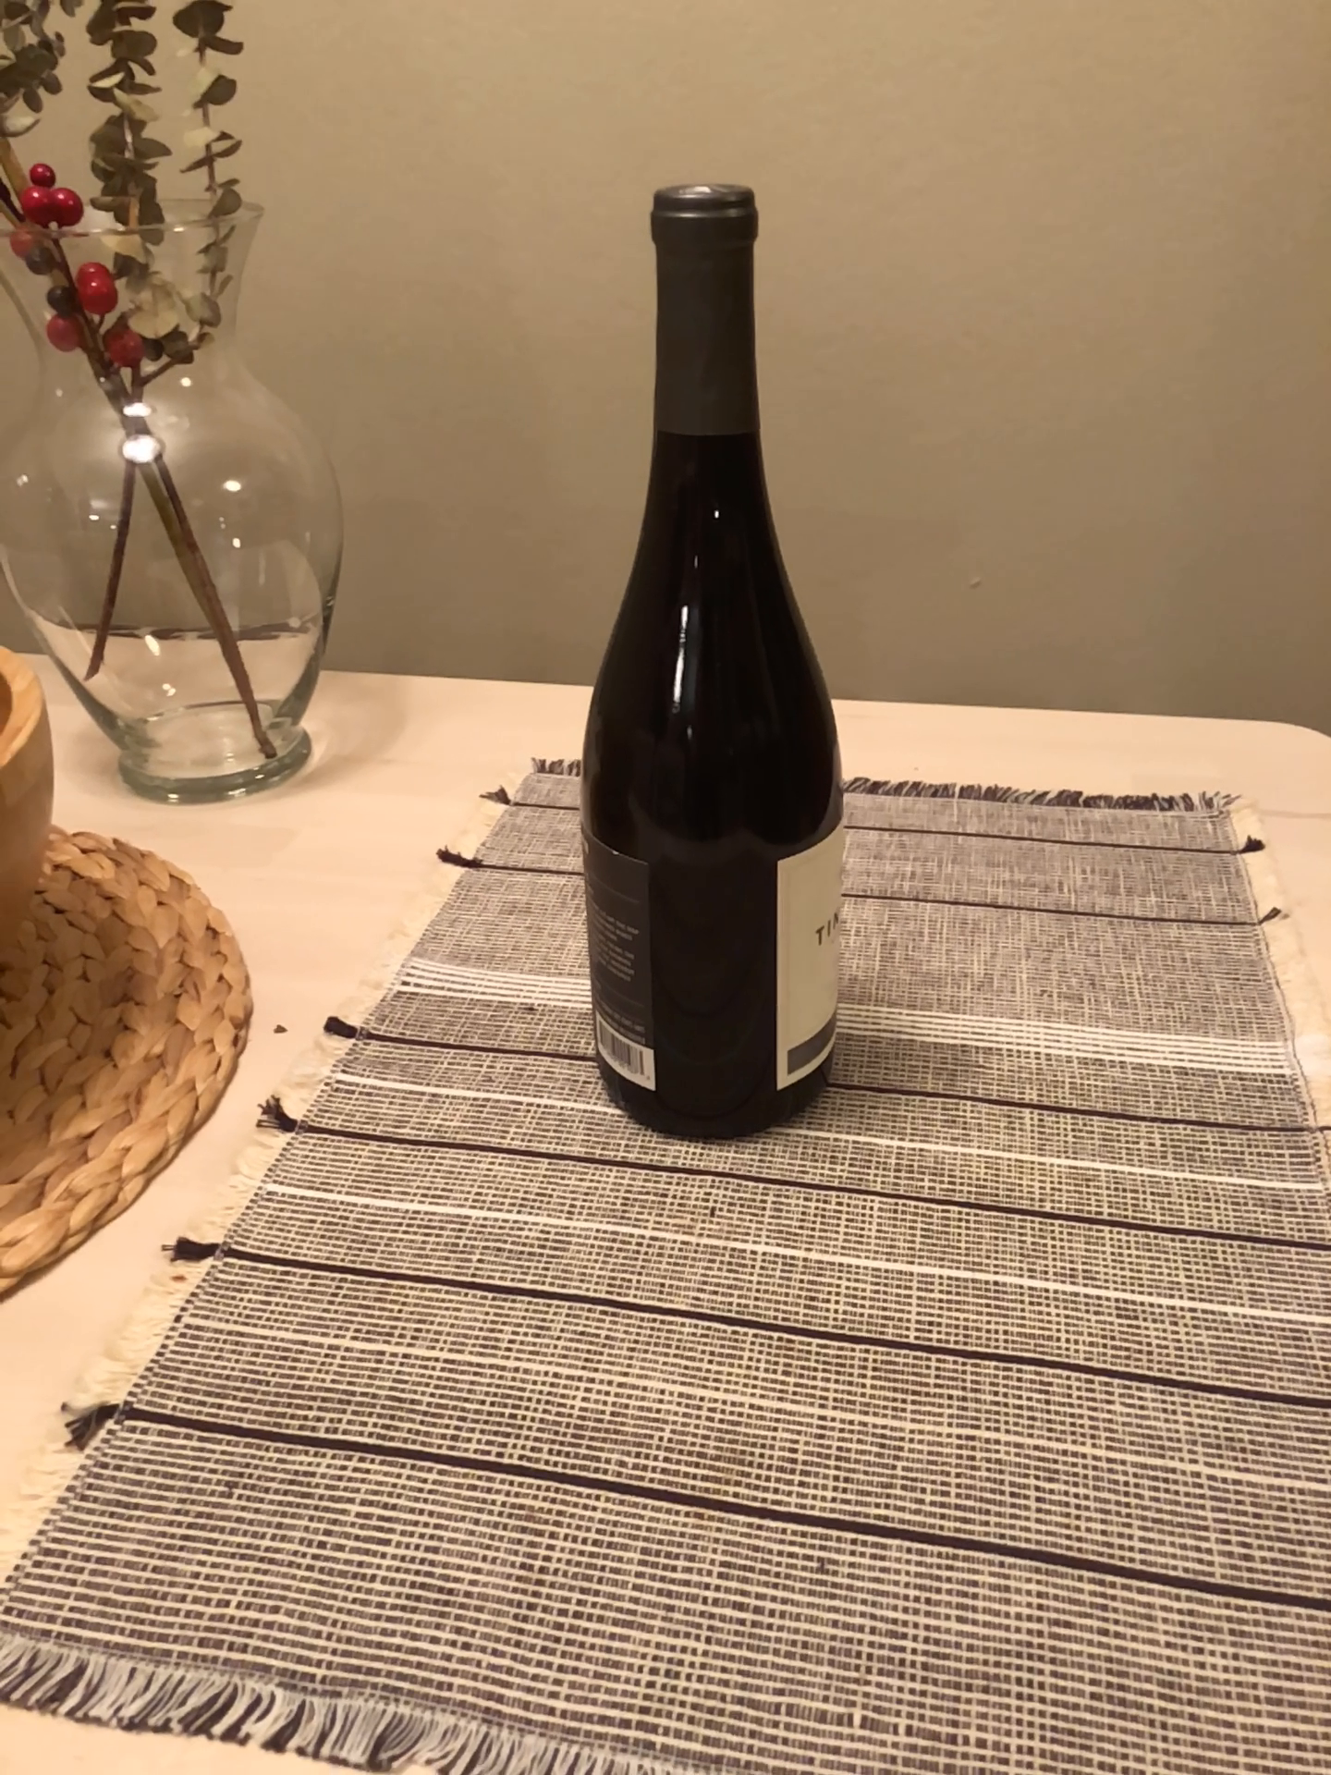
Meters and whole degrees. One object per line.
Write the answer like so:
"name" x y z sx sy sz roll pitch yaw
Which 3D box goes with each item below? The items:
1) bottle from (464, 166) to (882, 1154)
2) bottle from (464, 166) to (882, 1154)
"bottle" 0.009 -0.061 0.458 0.100 0.288 0.091 1 29 5
"bottle" 0.009 -0.061 0.458 0.100 0.288 0.091 1 29 5
